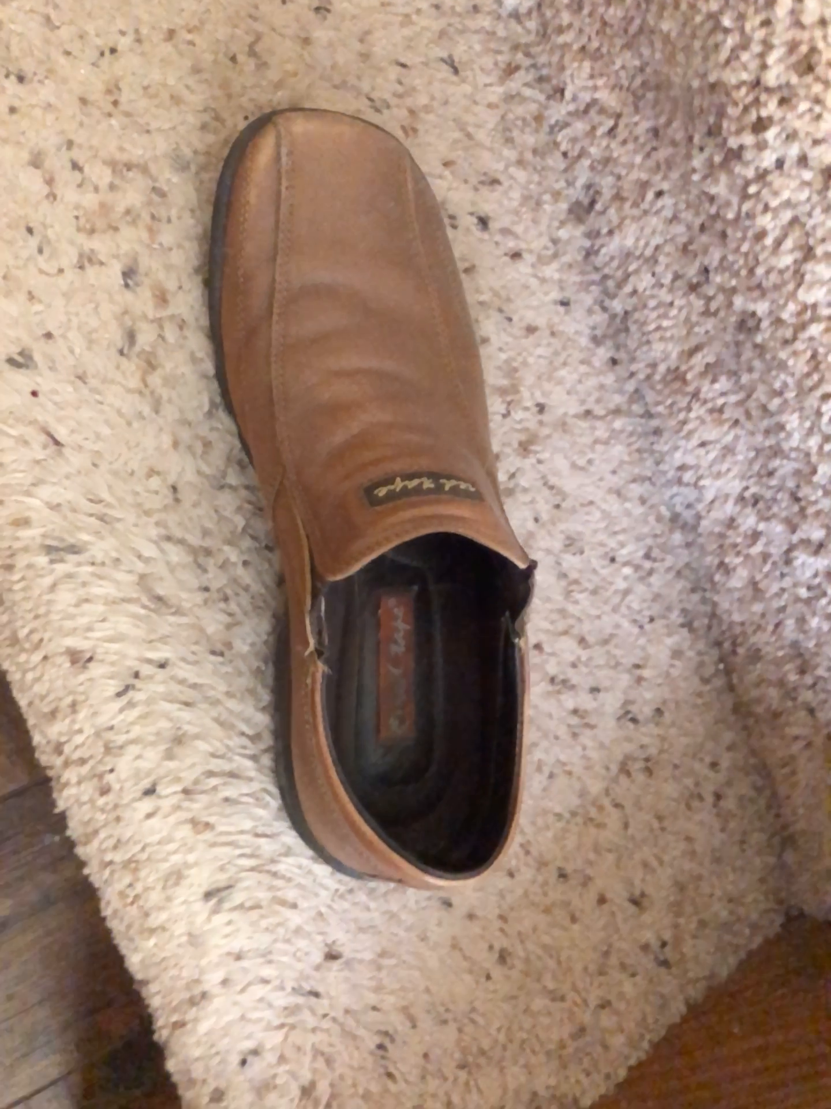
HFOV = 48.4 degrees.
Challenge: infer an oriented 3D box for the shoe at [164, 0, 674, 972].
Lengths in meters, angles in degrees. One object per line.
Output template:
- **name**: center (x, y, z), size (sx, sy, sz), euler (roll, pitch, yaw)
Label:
- **shoe**: center (-0.006, -0.034, 0.326), size (0.110, 0.120, 0.290), euler (-6, 90, -27)
